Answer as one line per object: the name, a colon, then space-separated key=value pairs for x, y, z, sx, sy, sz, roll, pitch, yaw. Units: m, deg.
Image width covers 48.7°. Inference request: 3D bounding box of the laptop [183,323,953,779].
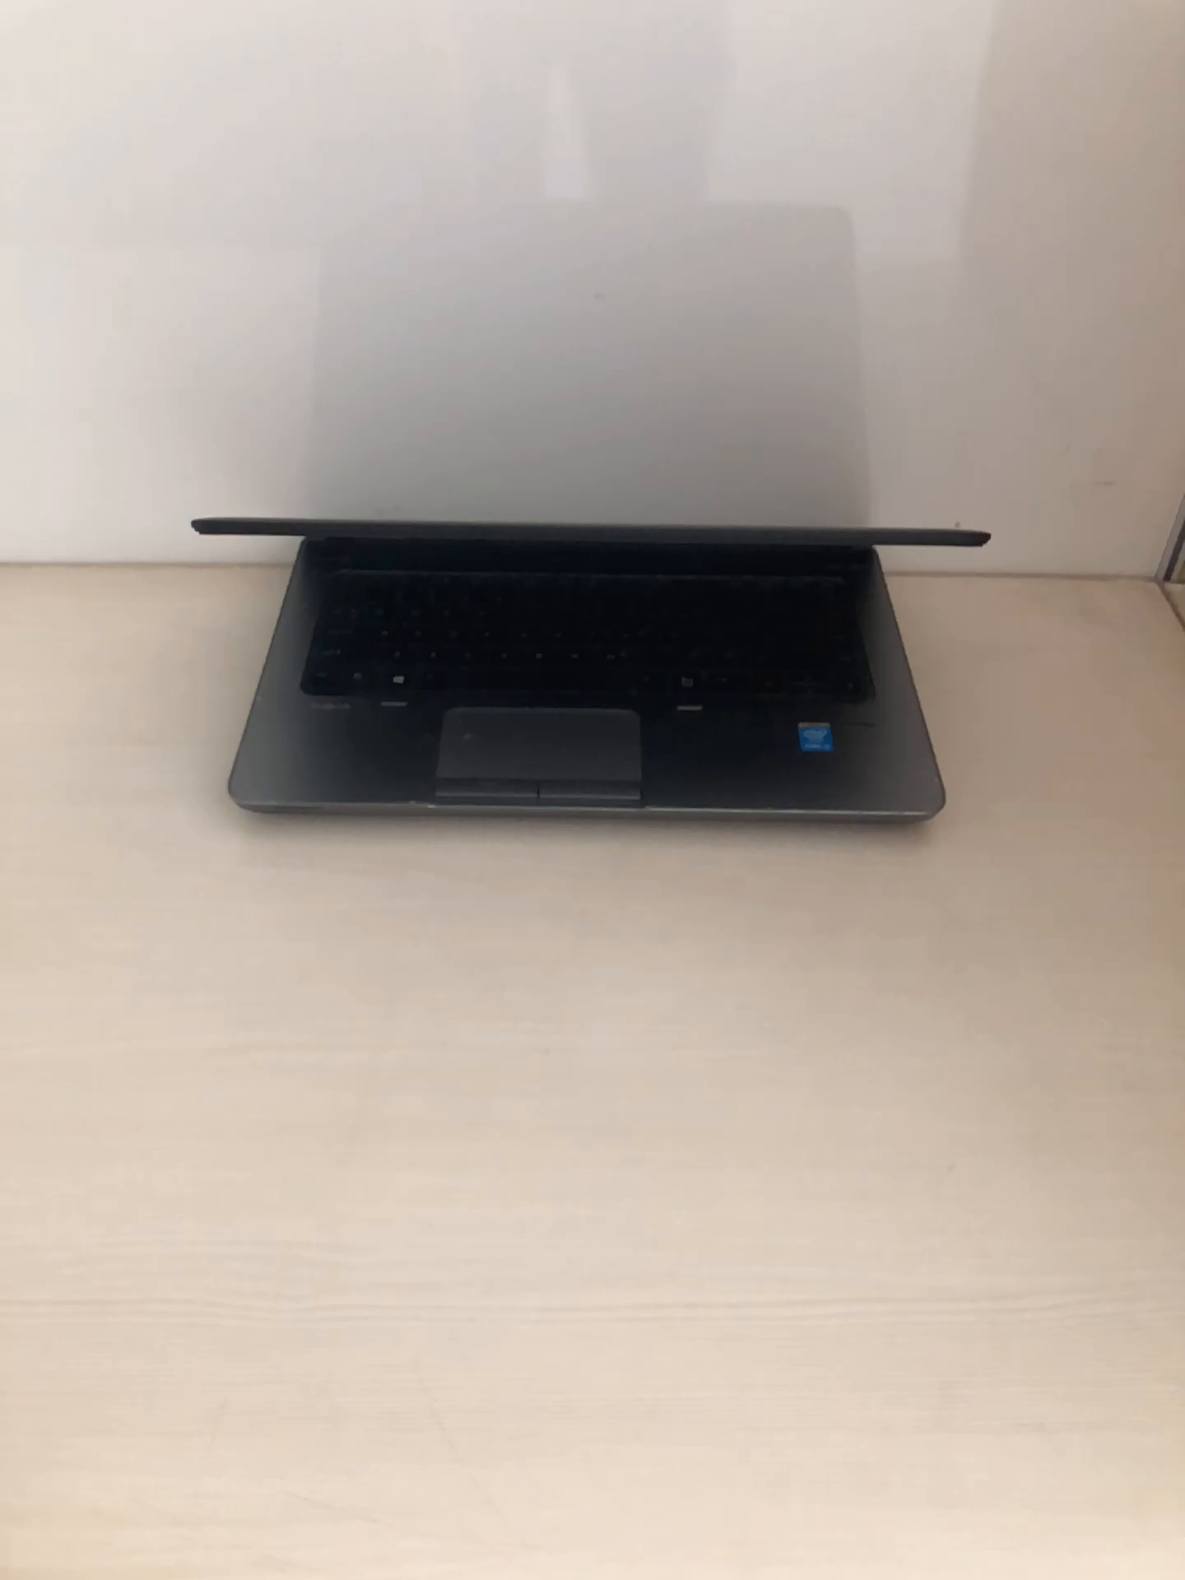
laptop: x=-0.011 y=-0.128 z=0.661 sx=0.319 sy=0.118 sz=0.221 roll=-1 pitch=44 yaw=-2
